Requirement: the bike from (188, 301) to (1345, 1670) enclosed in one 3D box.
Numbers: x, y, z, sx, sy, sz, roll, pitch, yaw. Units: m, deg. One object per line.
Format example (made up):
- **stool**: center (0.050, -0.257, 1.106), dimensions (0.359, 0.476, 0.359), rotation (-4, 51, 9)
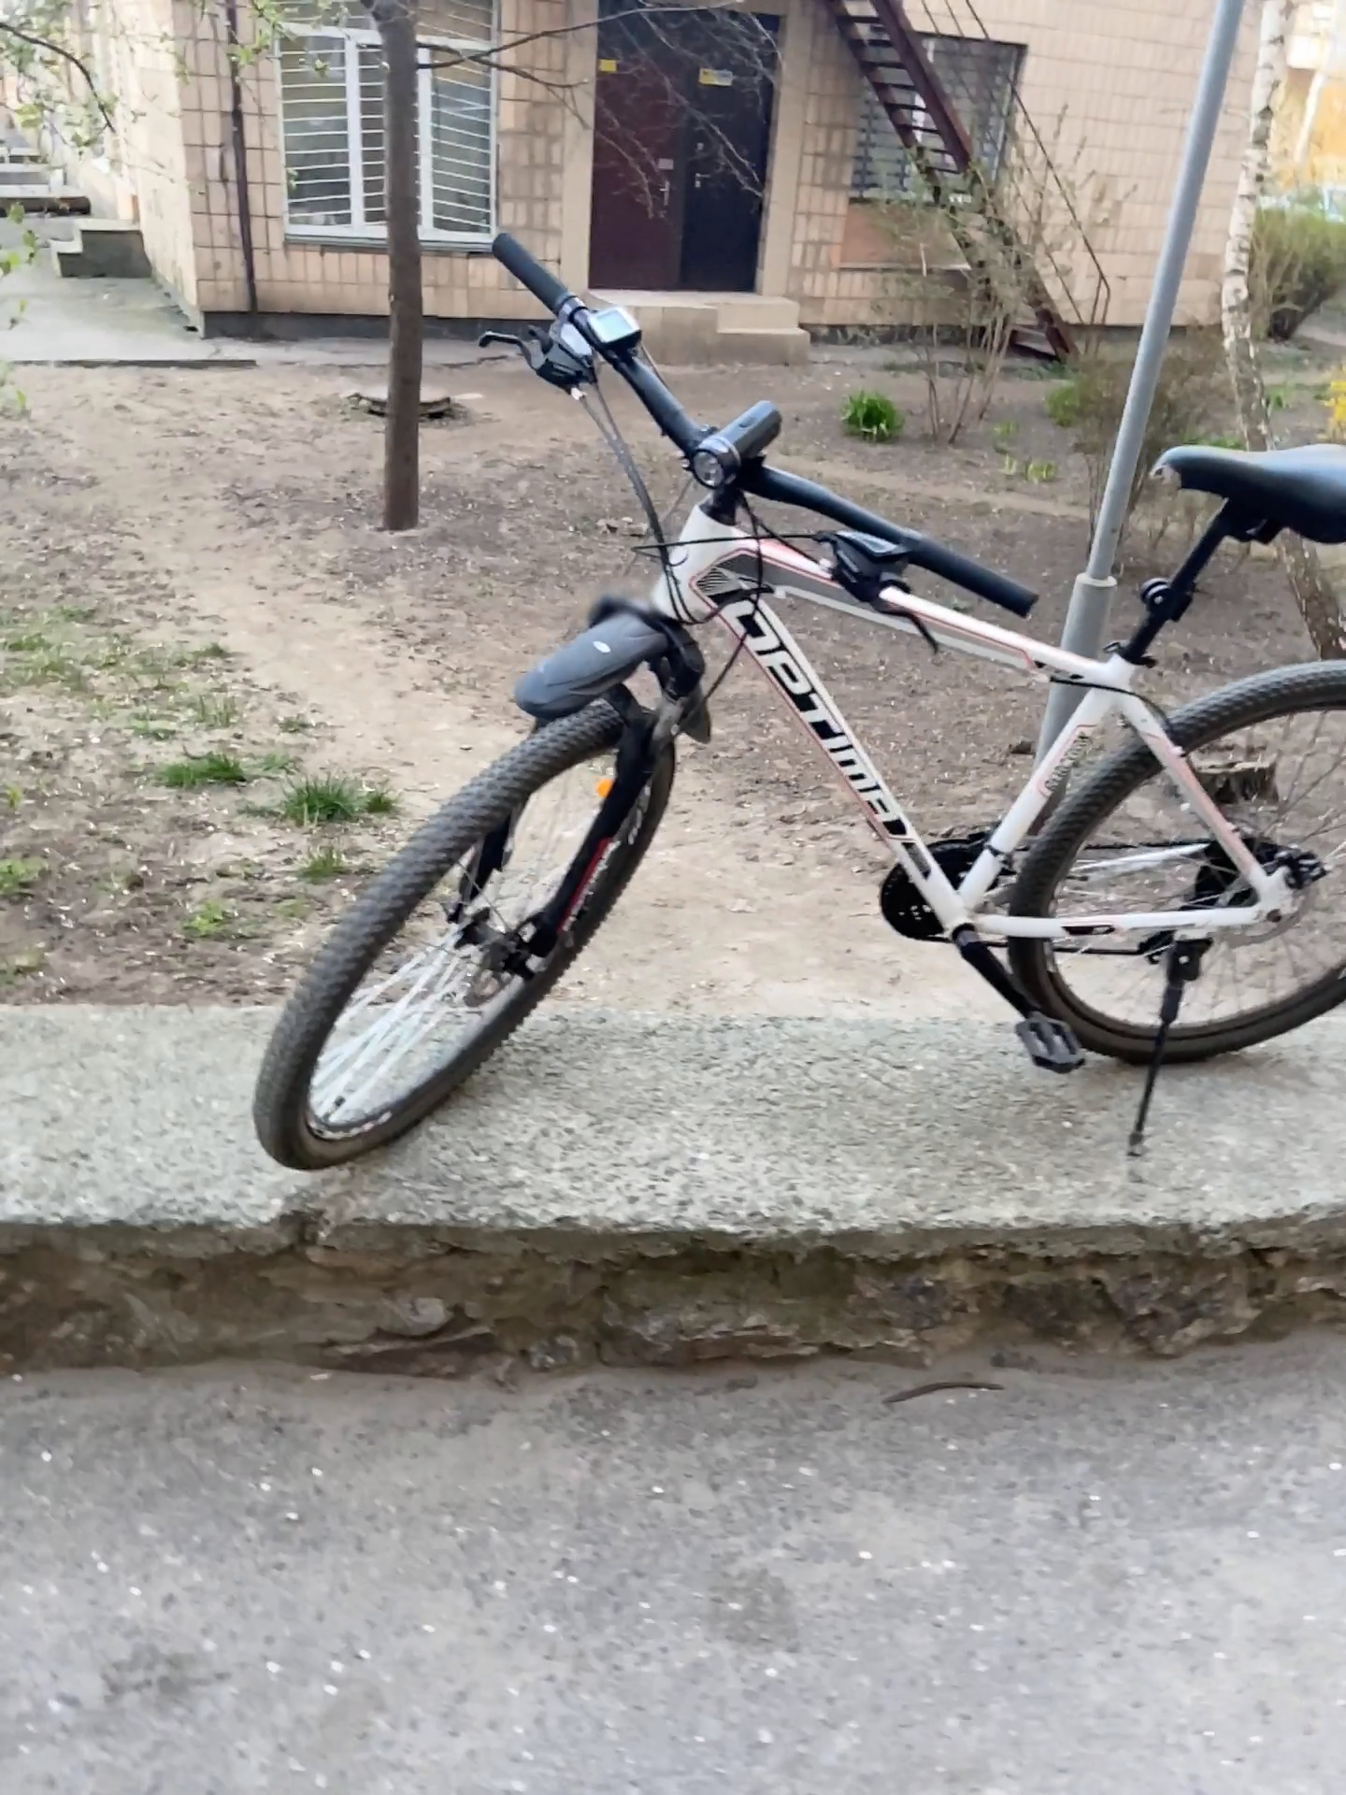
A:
- **bike**: center (0.400, -0.030, 1.654), dimensions (1.753, 1.144, 0.681), rotation (-9, 32, -18)
